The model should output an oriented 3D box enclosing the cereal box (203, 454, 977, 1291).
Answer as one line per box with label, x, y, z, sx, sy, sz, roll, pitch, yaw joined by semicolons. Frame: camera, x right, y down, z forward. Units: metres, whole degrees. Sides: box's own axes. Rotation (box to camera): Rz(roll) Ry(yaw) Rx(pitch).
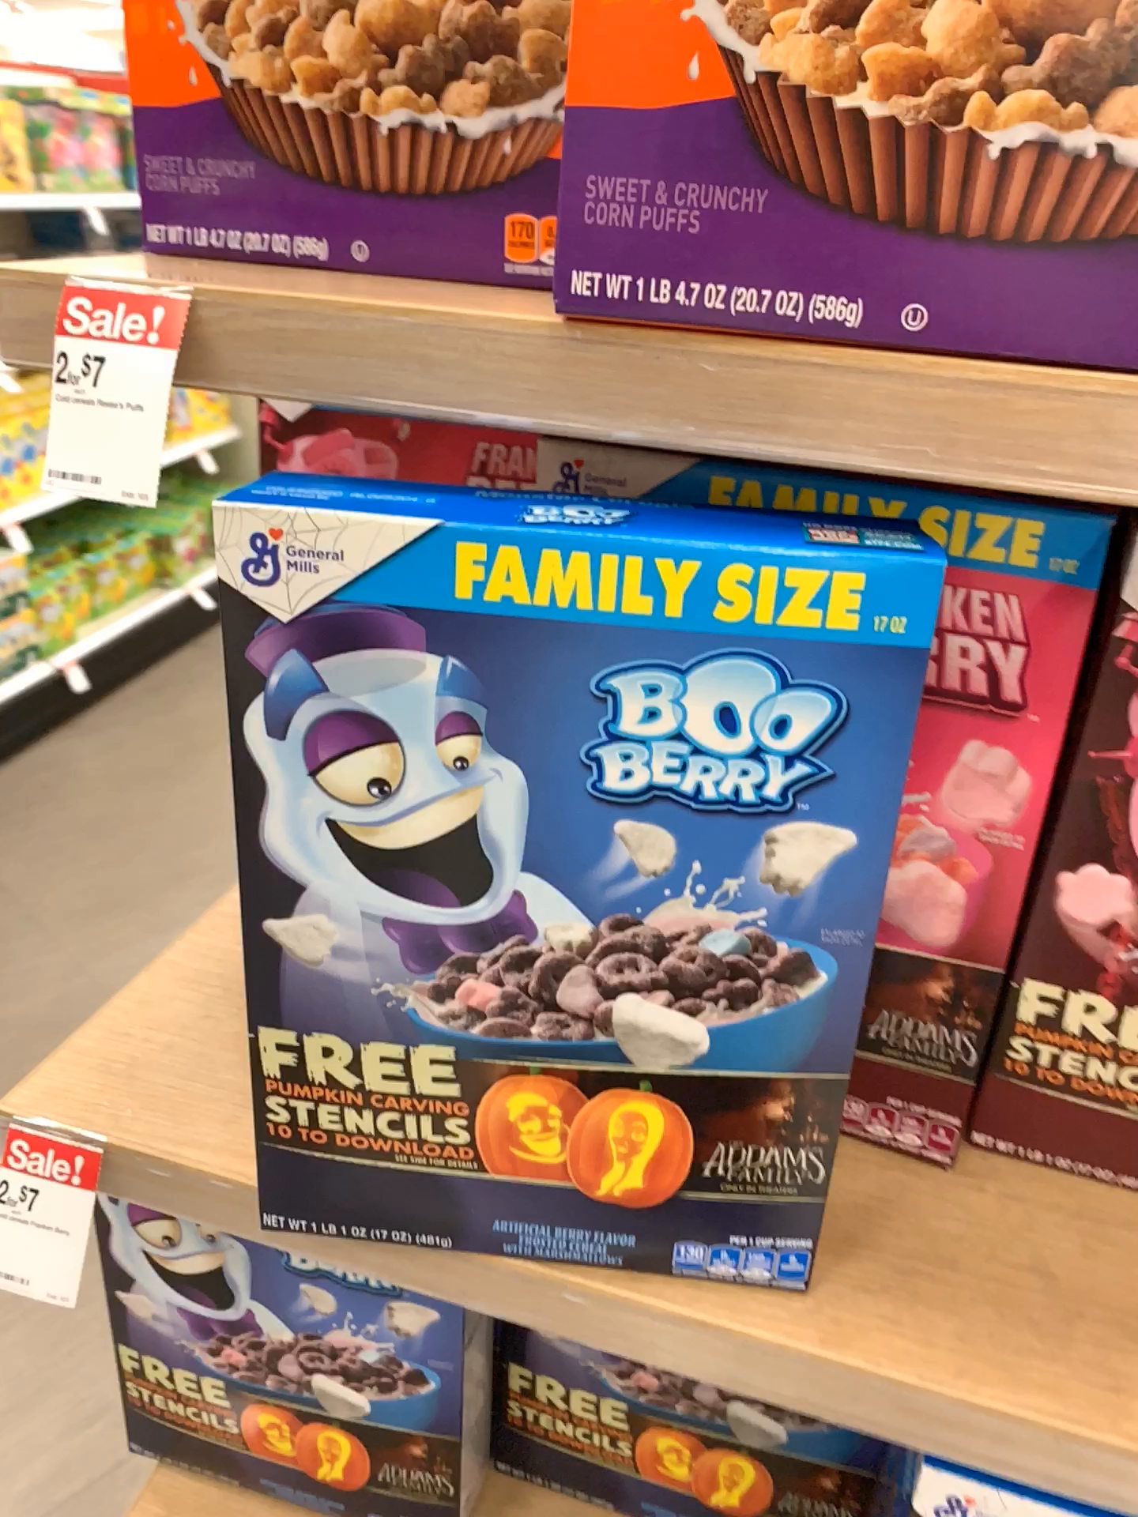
cereal box;-0.003;0.054;0.451;0.240;0.309;0.060;5;24;2
